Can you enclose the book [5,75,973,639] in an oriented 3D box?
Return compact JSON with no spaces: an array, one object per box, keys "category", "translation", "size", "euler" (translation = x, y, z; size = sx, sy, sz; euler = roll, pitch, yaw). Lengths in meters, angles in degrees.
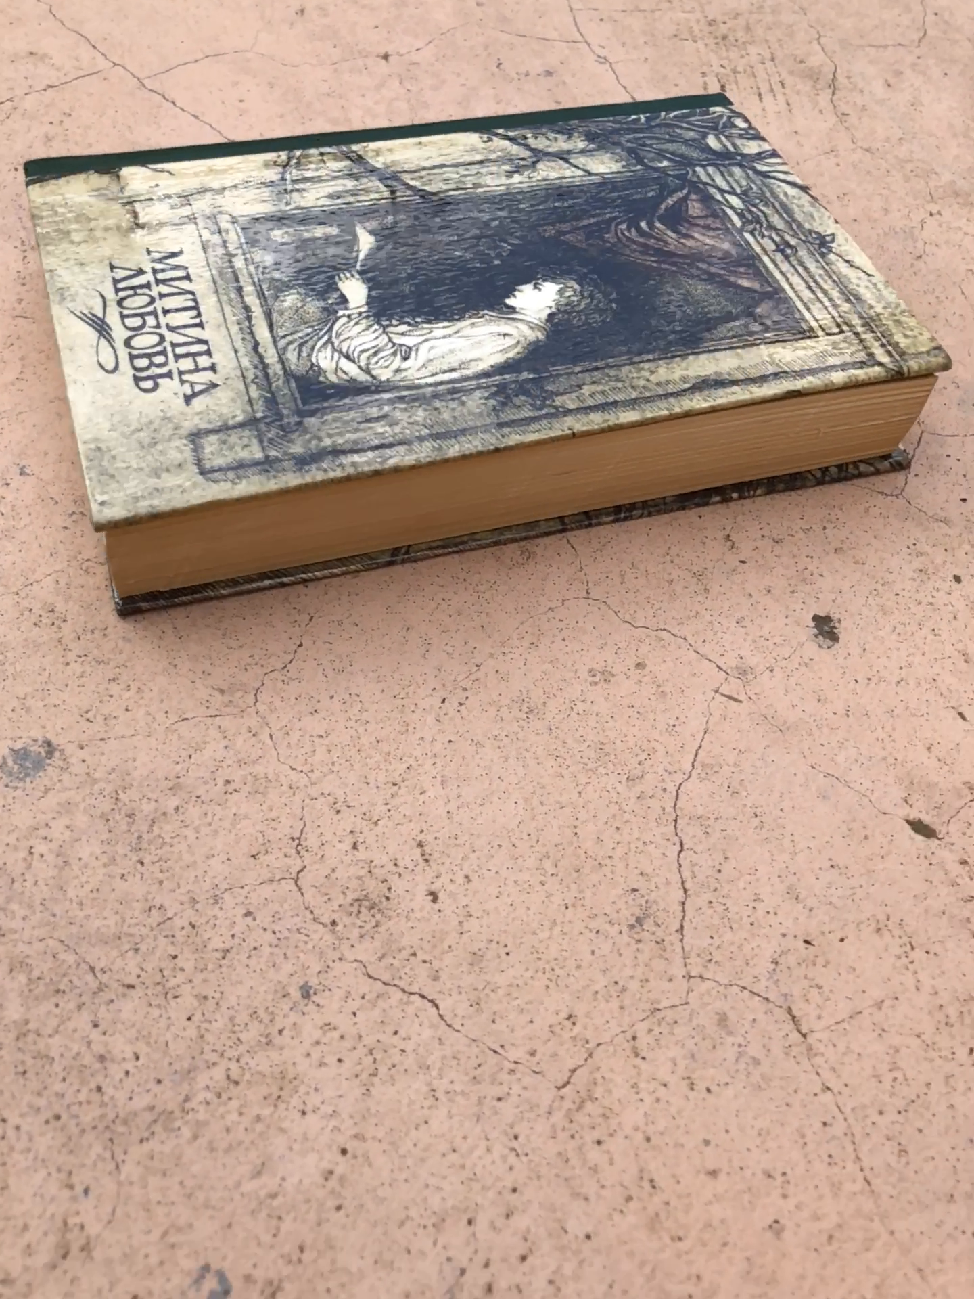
[{"category":"book","translation":[-0.002,-0.089,0.283],"size":[0.213,0.035,0.135],"euler":[-13,58,-15]}]
